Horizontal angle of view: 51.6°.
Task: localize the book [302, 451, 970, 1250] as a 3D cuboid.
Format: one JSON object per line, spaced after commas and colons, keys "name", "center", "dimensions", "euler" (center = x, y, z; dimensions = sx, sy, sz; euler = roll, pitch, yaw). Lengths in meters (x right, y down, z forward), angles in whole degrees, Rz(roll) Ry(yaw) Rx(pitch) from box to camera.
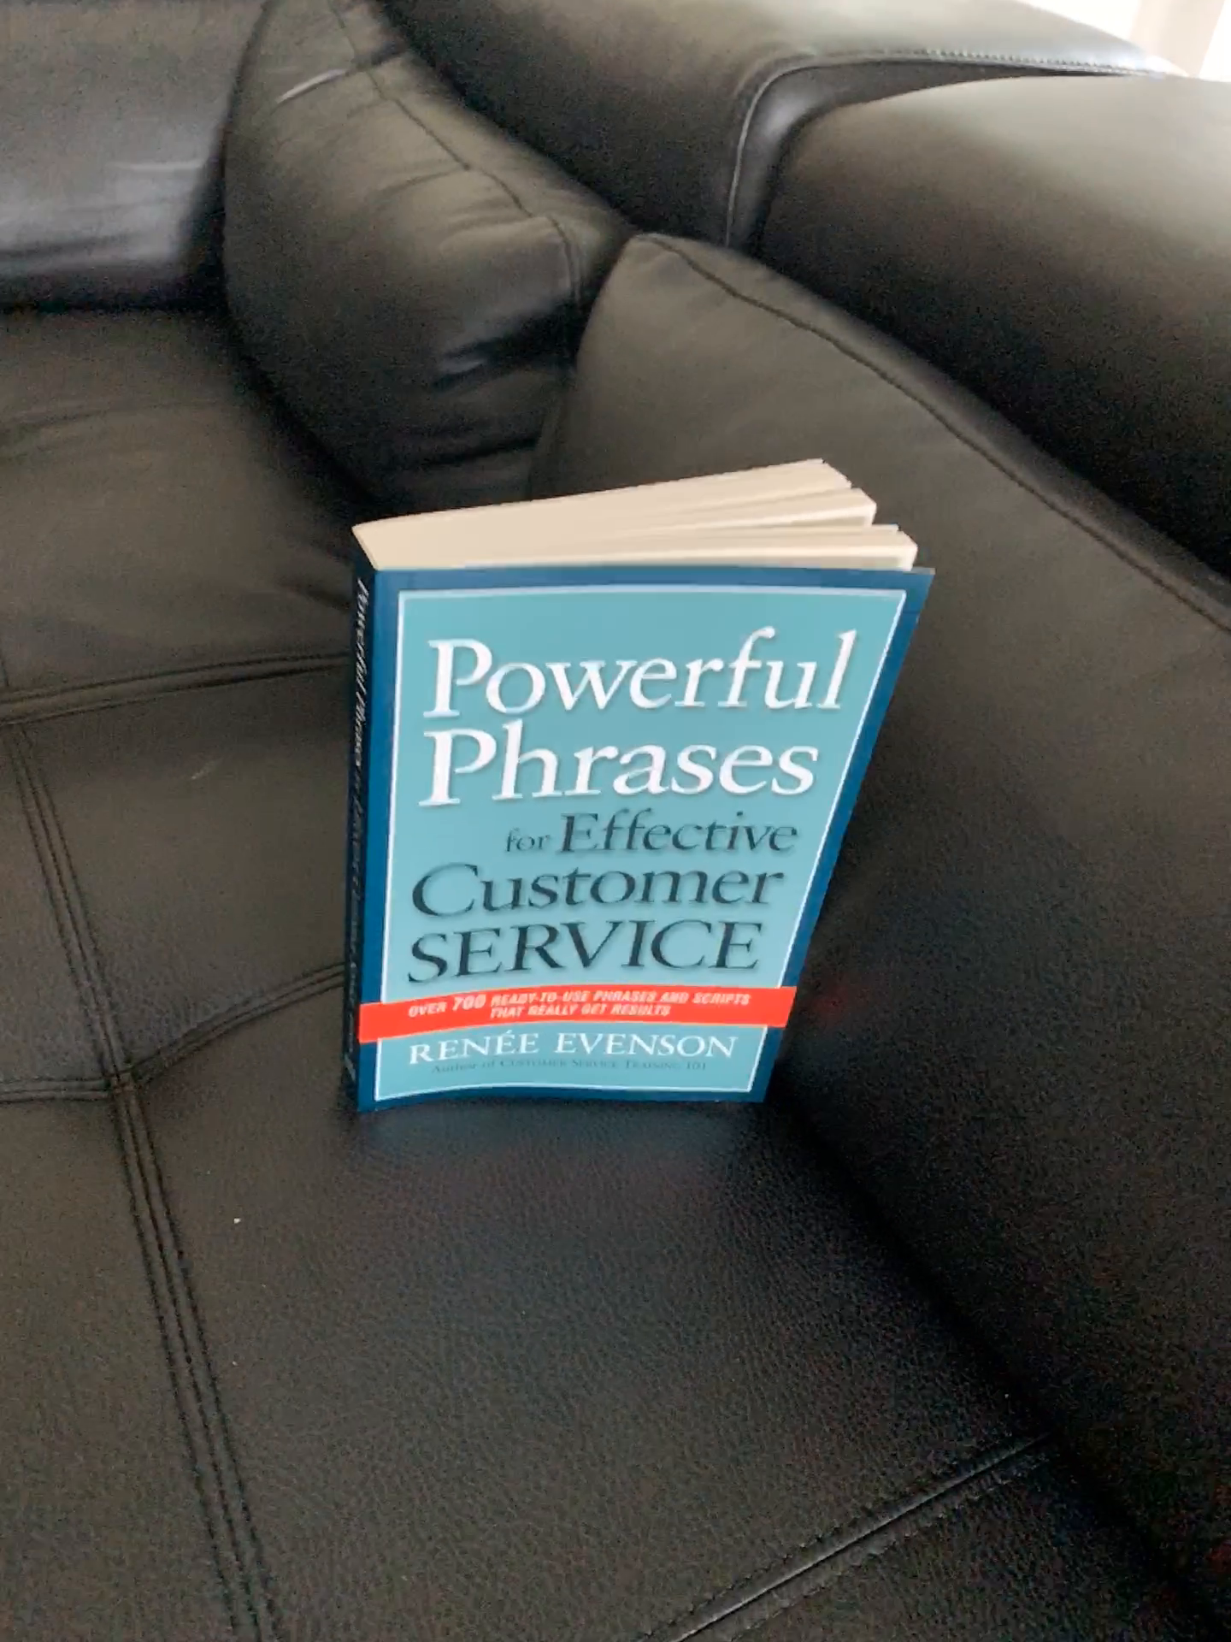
{"name": "book", "center": [-0.009, 0.017, 0.422], "dimensions": [0.162, 0.246, 0.083], "euler": [-11, 44, -22]}
